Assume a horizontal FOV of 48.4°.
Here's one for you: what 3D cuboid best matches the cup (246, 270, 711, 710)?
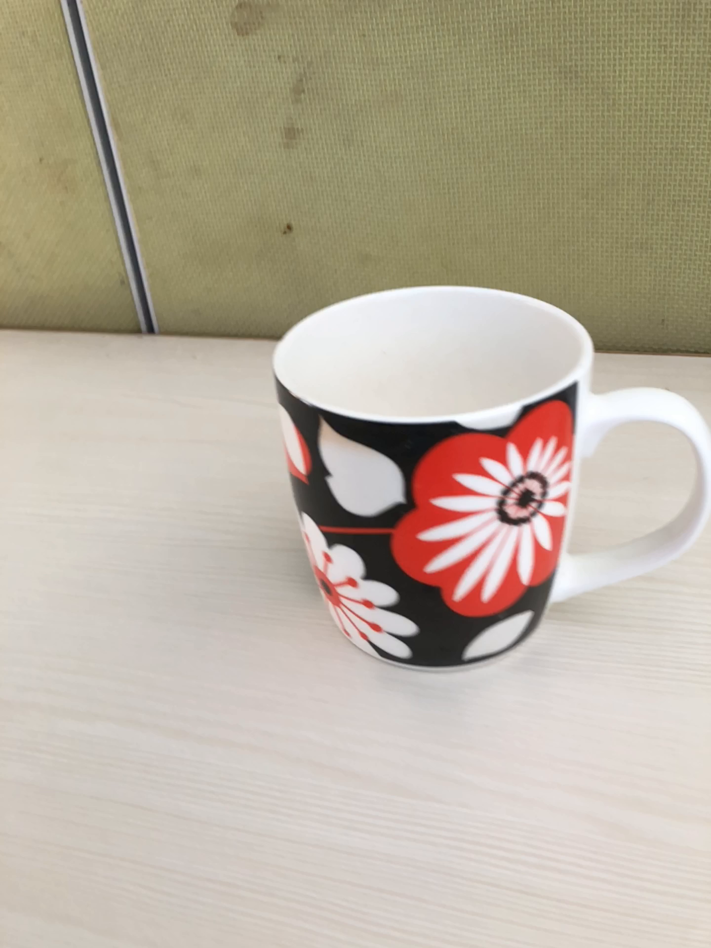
[{"bbox_3d":[0.043,0.000,0.233,0.120,0.089,0.091,0,32,8],"label":"cup"}]
